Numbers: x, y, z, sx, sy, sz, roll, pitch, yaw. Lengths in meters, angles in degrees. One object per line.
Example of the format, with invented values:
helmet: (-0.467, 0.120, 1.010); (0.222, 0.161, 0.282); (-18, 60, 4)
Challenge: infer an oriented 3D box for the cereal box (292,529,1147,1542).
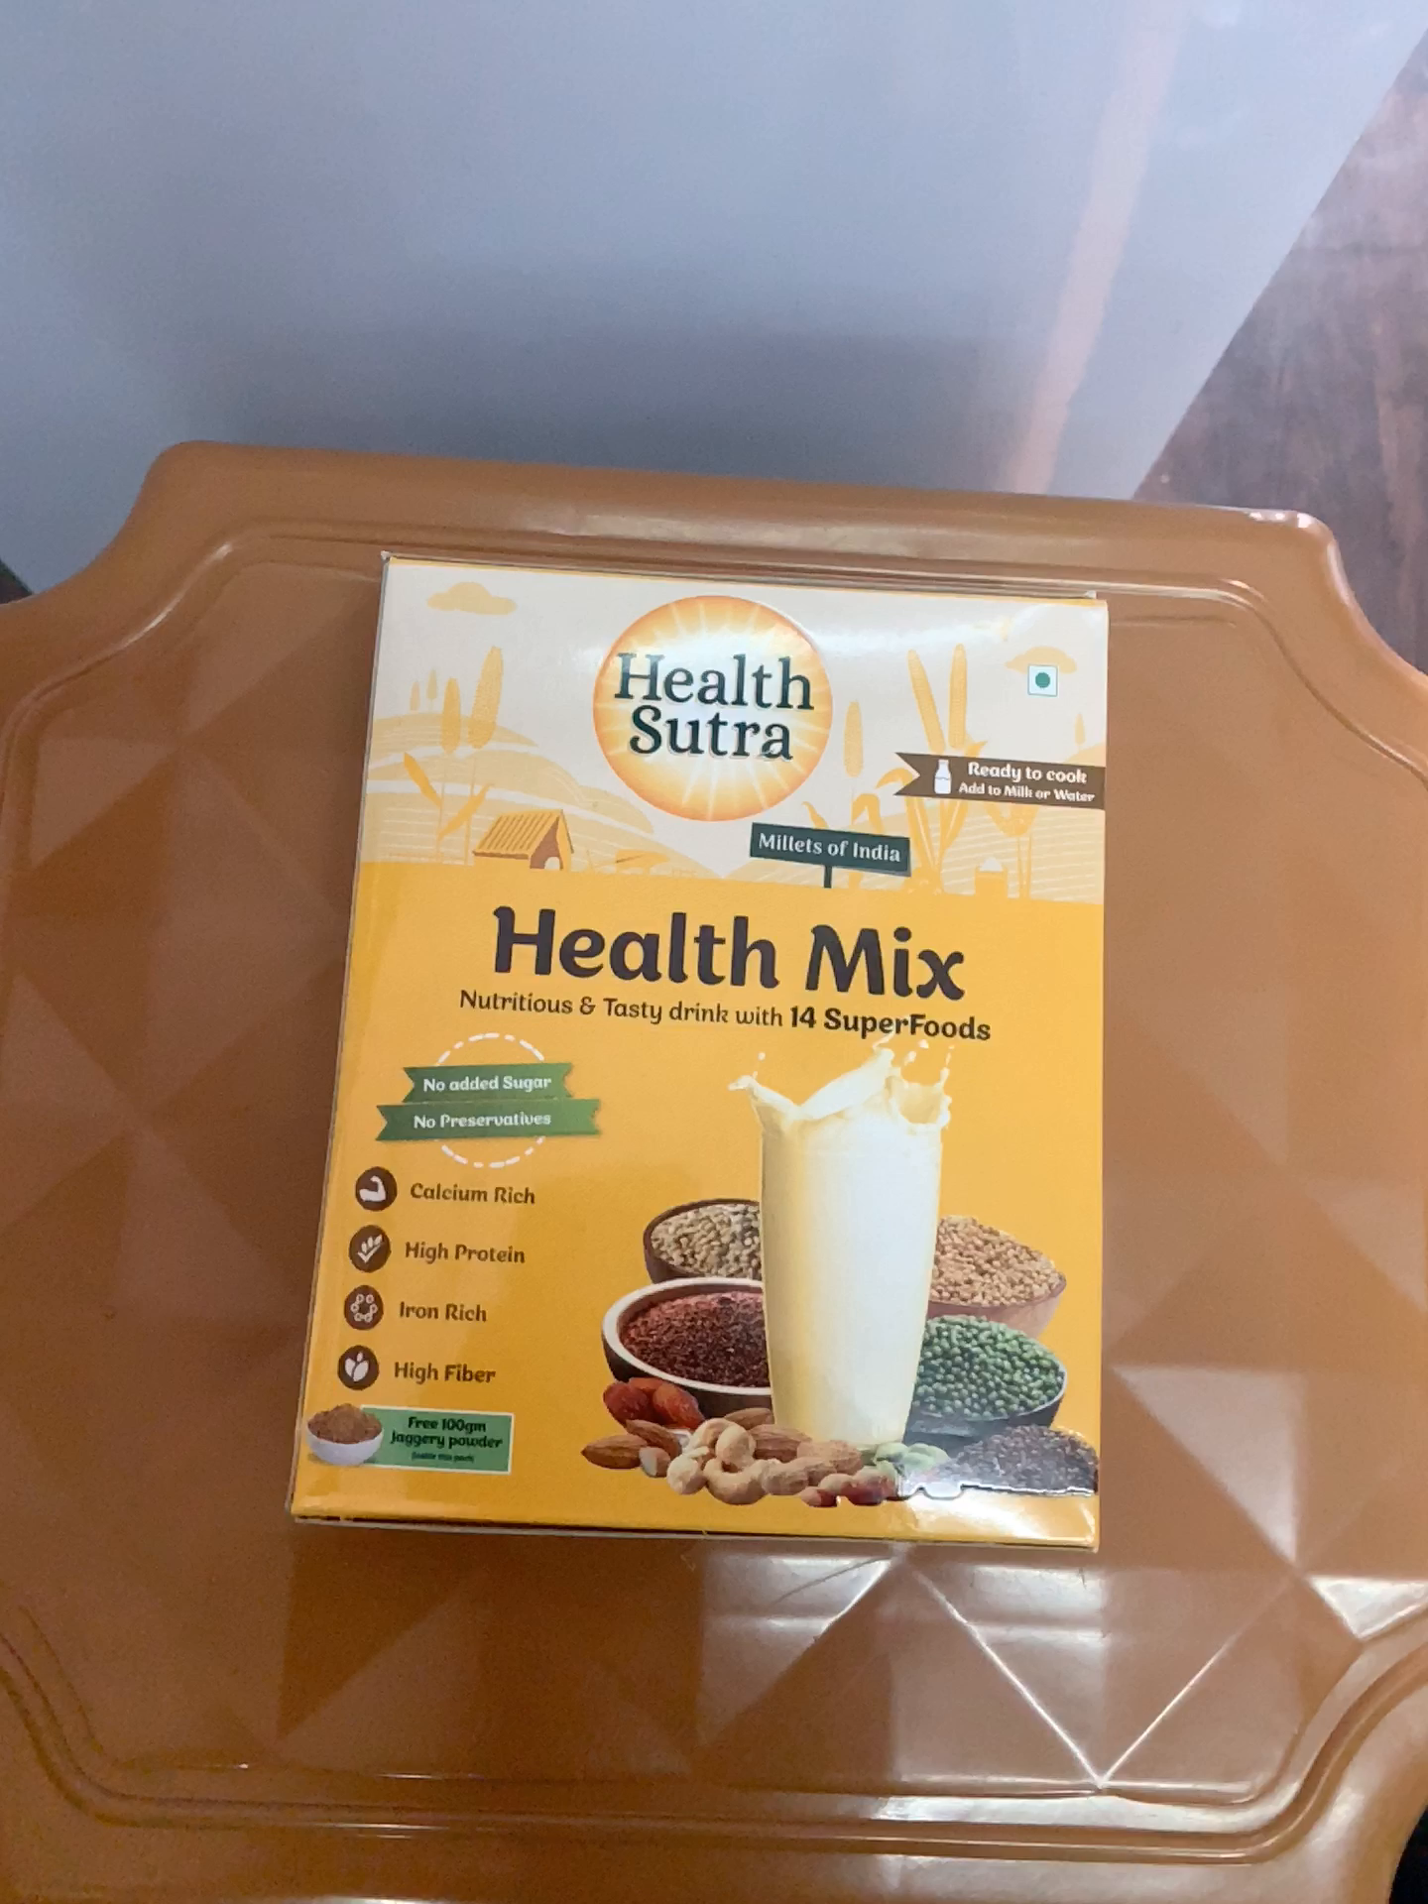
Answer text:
cereal box: (0.004, 0.013, 0.260); (0.130, 0.040, 0.160); (3, 79, -3)
